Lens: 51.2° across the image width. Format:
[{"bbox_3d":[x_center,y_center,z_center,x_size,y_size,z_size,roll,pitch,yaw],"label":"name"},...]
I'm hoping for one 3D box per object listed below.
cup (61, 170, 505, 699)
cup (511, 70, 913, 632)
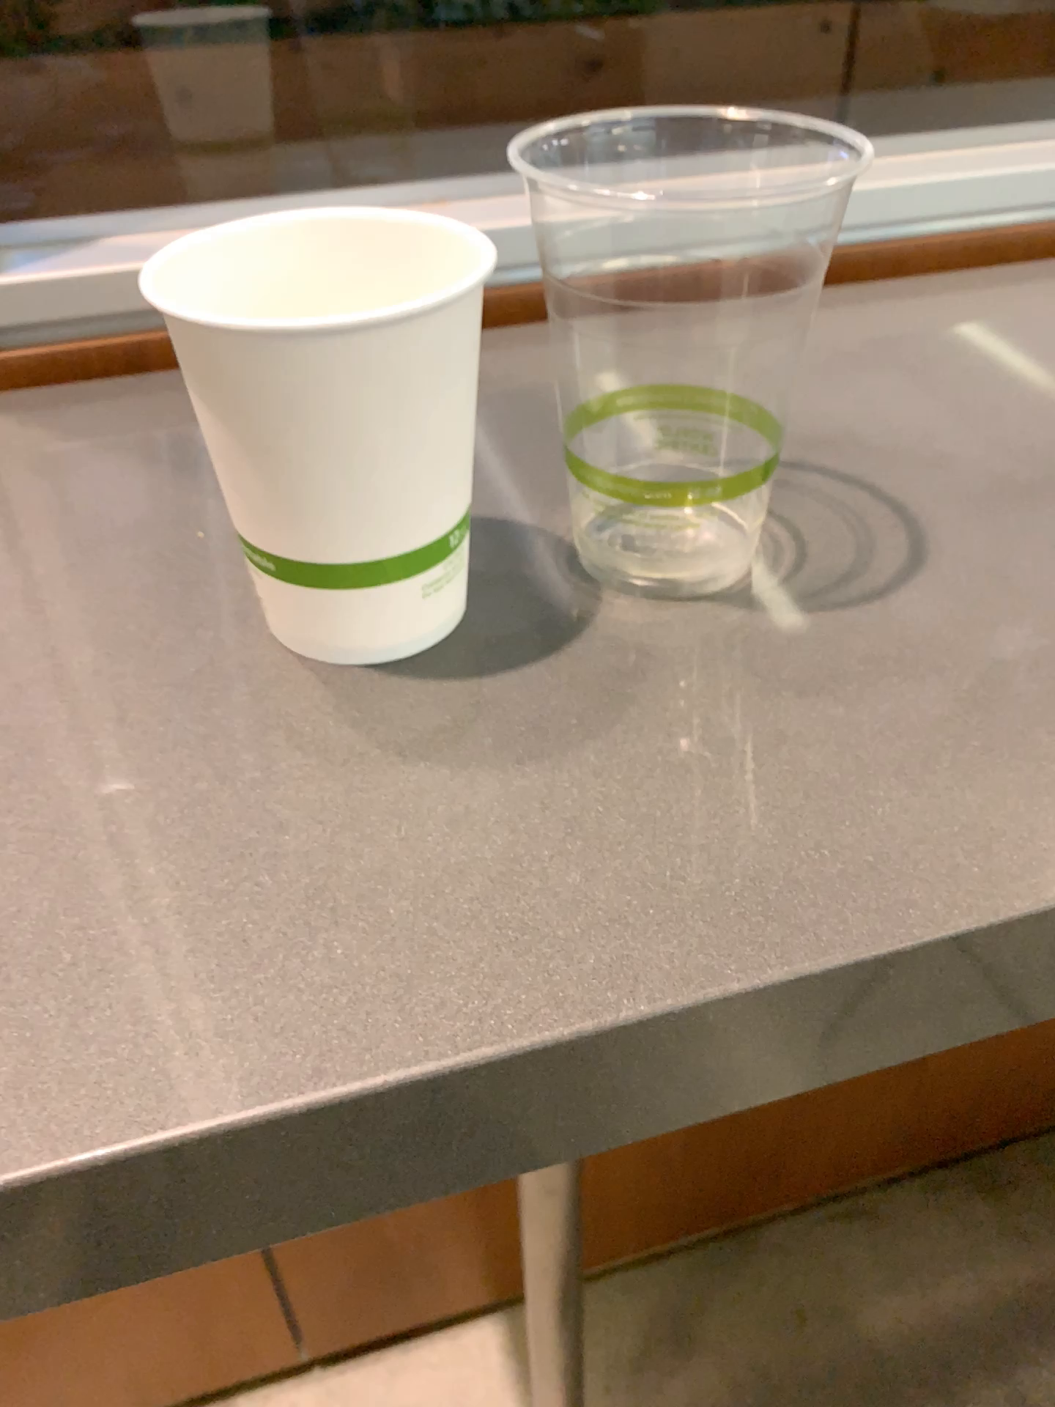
[{"bbox_3d":[-0.056,-0.075,0.304,0.090,0.109,0.091,-1,38,1],"label":"cup"},{"bbox_3d":[0.040,-0.100,0.310,0.080,0.119,0.101,-4,38,-2],"label":"cup"}]
